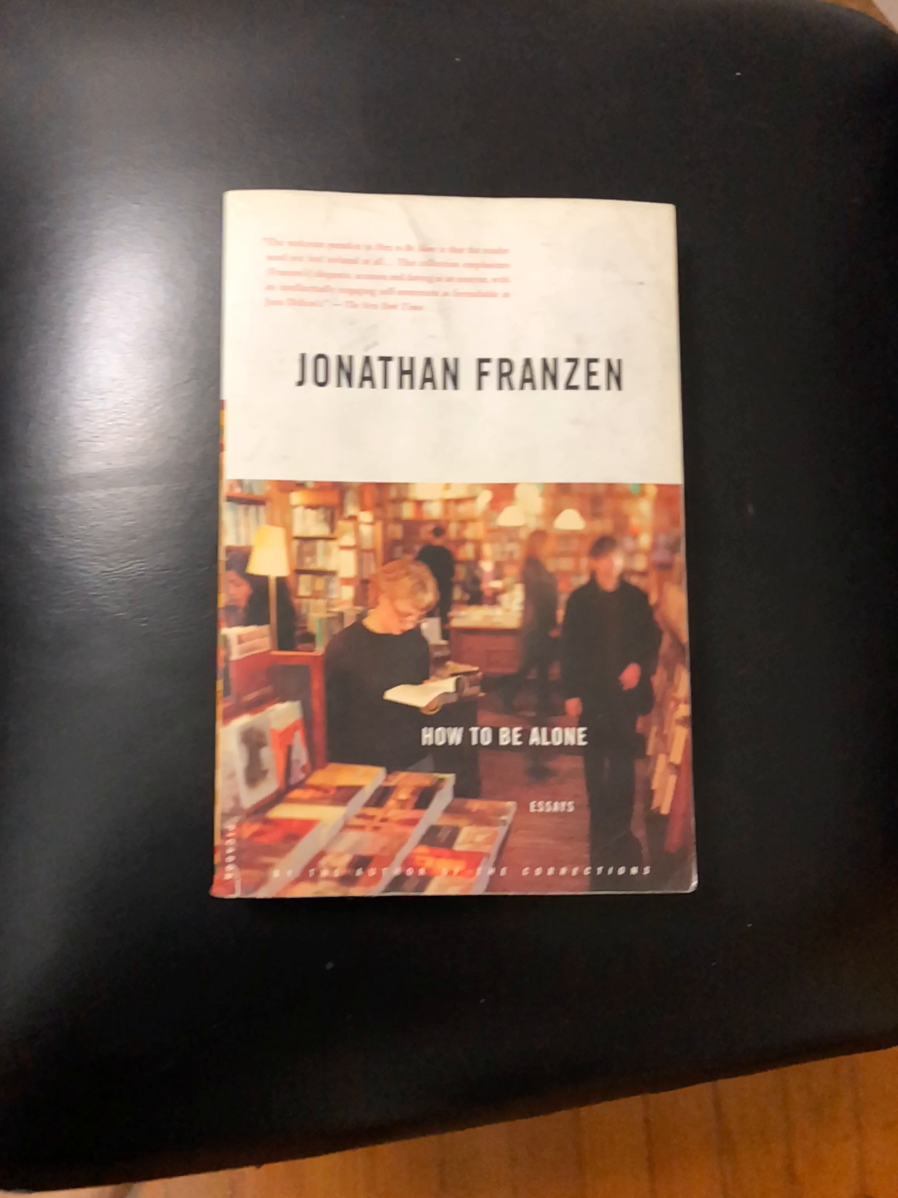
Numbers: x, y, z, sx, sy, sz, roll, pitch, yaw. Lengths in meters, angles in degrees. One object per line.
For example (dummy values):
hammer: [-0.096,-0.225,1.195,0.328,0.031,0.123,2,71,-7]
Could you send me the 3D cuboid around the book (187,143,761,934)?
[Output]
book: [0.008,-0.020,0.309,0.160,0.040,0.230,0,85,1]
